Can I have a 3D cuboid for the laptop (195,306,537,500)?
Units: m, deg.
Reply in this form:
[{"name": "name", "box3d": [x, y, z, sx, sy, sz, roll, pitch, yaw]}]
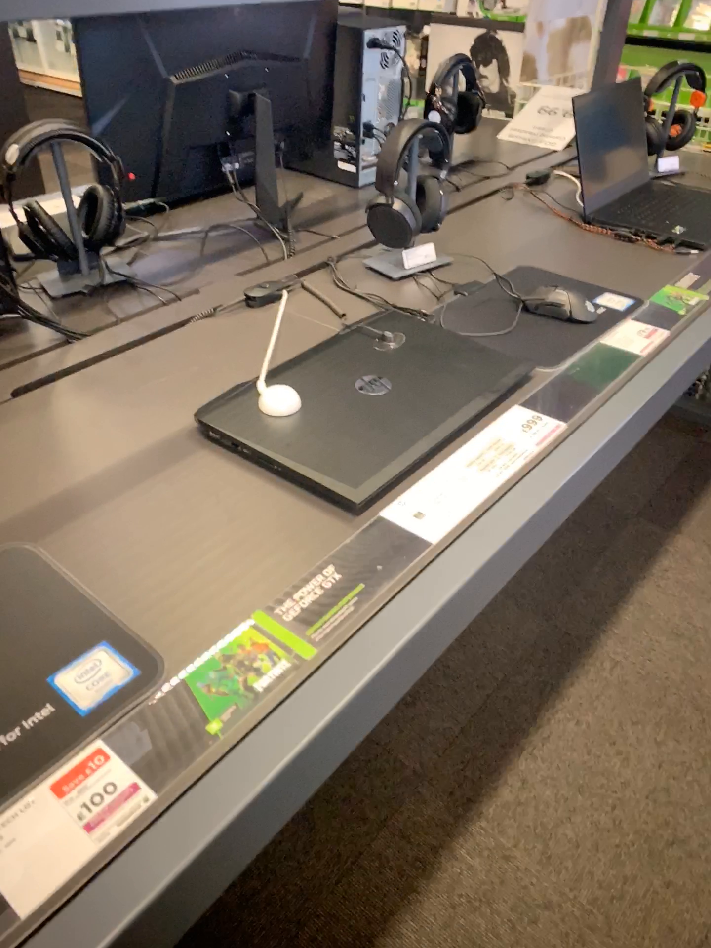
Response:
[{"name": "laptop", "box3d": [0.027, -0.117, 0.941, 0.256, 0.001, 0.396, 27, 45, 30]}]
